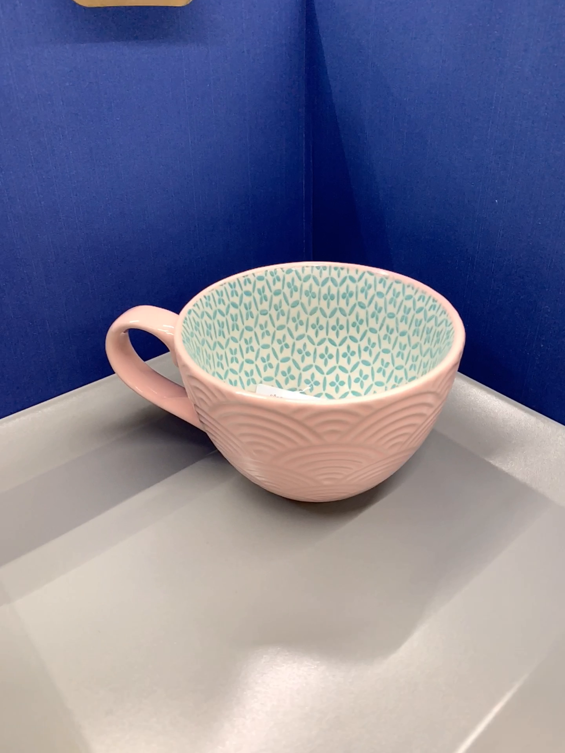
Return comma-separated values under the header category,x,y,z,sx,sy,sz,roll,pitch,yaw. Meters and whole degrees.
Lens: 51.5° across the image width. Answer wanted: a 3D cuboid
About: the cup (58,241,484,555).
category,x,y,z,sx,sy,sz,roll,pitch,yaw
cup,0.004,0.000,0.259,0.150,0.064,0.105,9,42,15
